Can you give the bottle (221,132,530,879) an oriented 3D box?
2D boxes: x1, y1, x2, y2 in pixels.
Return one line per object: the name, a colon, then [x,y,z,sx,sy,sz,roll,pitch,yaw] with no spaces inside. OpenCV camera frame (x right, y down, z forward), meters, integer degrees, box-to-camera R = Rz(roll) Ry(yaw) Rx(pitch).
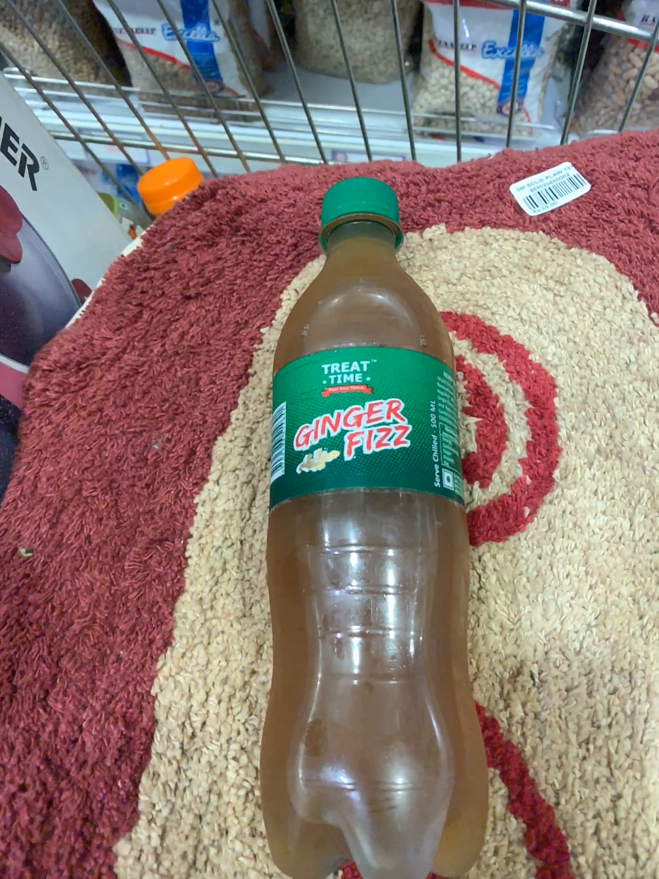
bottle: [0.013,0.017,0.222,0.070,0.070,0.220,-1,72,4]
